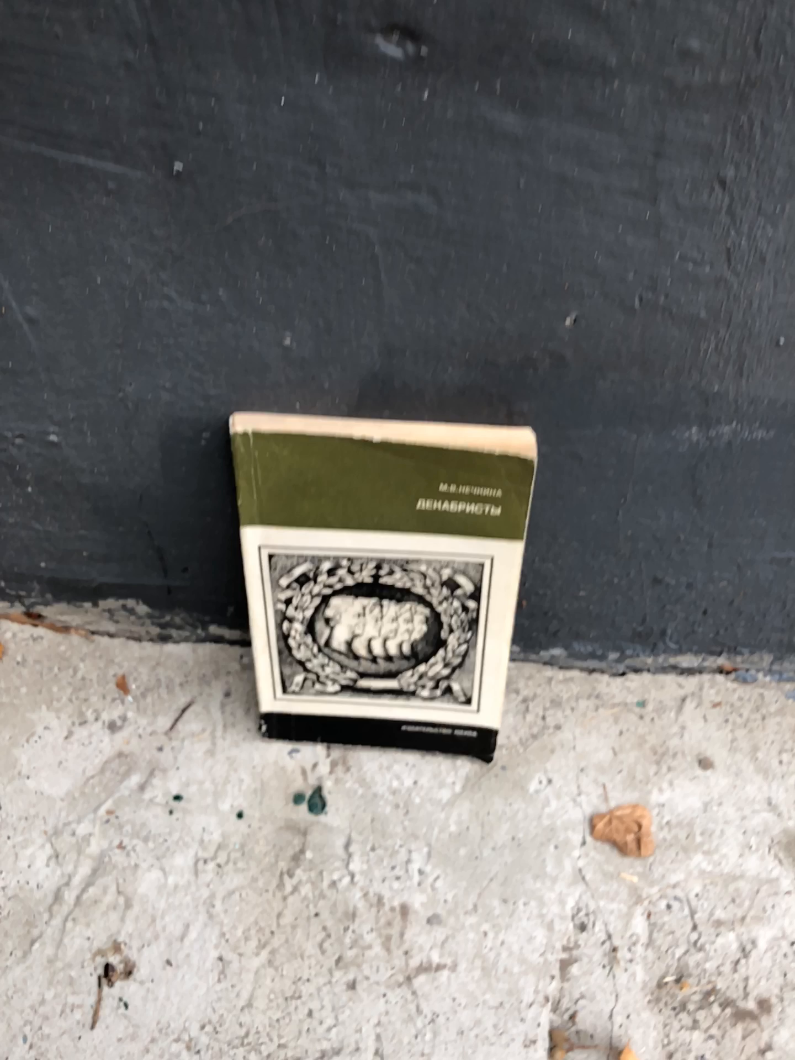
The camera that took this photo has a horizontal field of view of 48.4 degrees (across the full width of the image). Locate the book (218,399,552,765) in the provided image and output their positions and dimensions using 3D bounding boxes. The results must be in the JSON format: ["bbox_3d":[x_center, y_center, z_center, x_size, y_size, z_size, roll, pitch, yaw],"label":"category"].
[{"bbox_3d":[-0.007,0.030,0.372,0.120,0.169,0.020,3,34,1],"label":"book"}]
